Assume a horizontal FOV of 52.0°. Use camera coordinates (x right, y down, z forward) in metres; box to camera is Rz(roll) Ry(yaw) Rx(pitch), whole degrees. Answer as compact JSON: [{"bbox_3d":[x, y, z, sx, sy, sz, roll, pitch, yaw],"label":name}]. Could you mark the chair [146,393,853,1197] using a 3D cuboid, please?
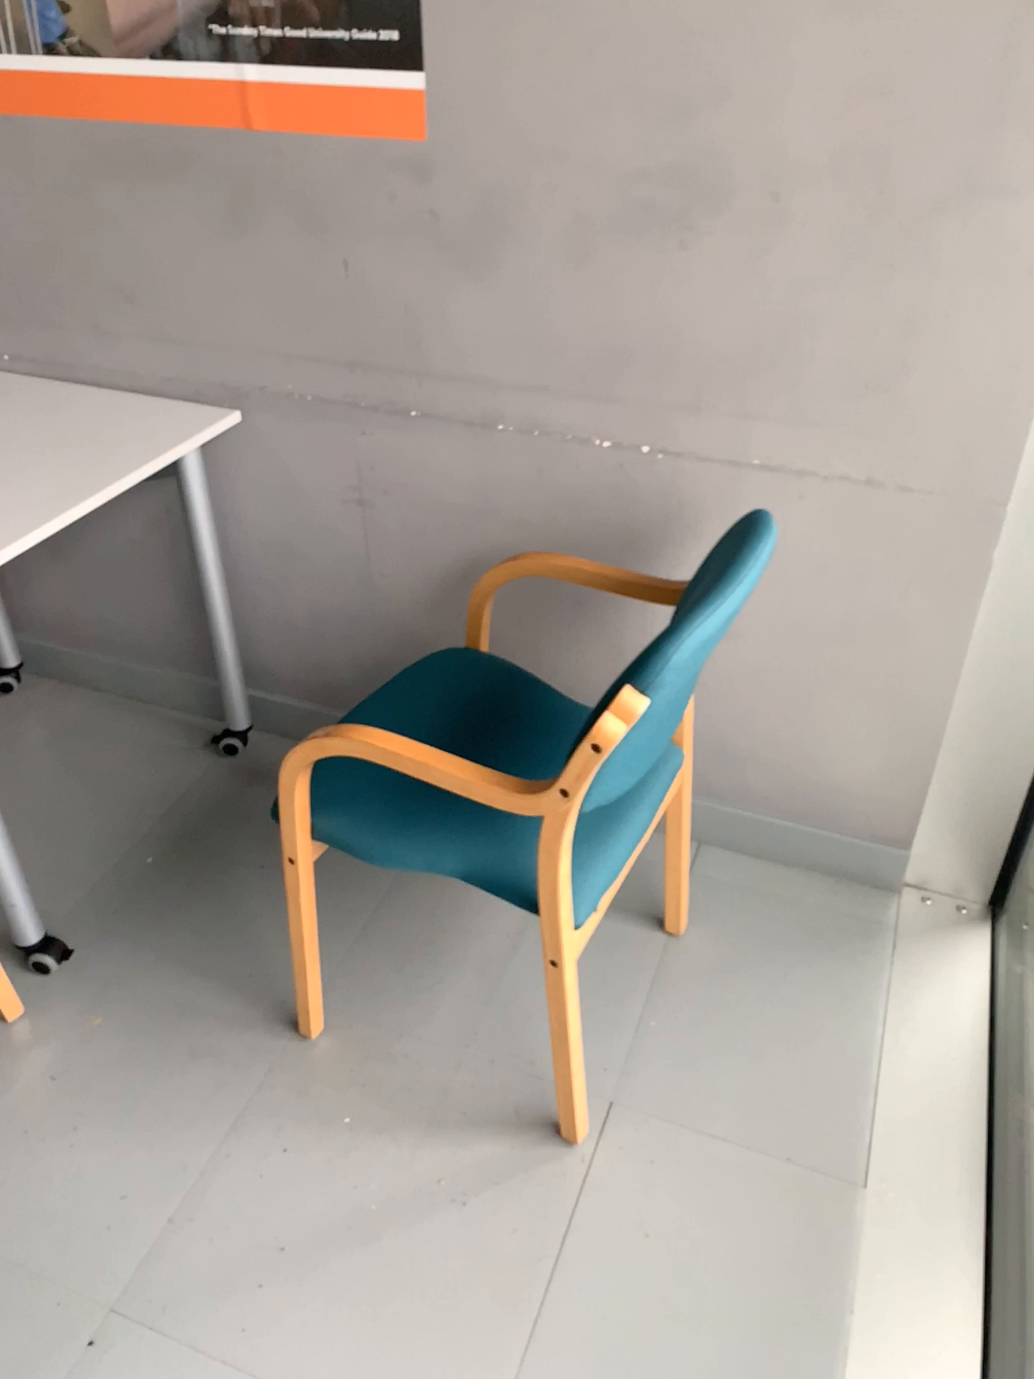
[{"bbox_3d":[0.028,0.085,1.501,0.642,0.723,0.685,14,36,20],"label":"chair"}]
